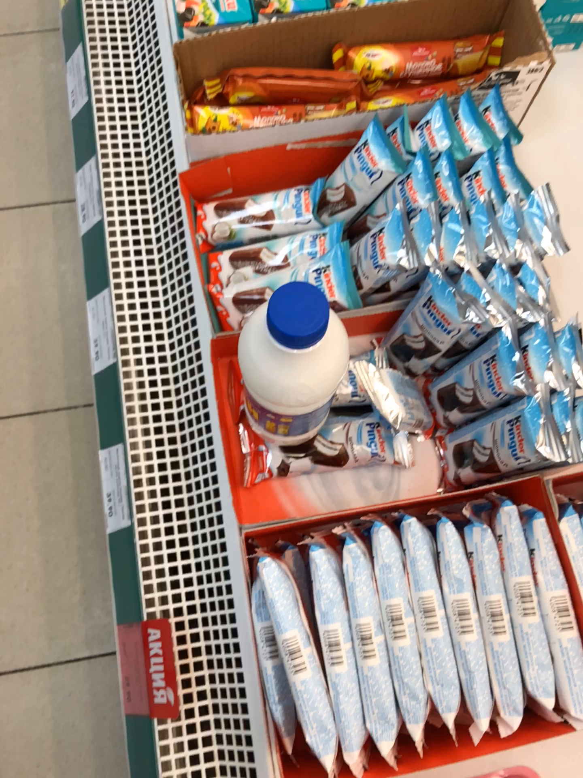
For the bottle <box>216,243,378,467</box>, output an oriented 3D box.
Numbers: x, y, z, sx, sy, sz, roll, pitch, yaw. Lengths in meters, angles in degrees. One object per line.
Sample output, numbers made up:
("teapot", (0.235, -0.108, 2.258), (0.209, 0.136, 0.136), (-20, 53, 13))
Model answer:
("bottle", (-0.001, -0.006, 0.402), (0.059, 0.203, 0.064), (1, 74, -2))
